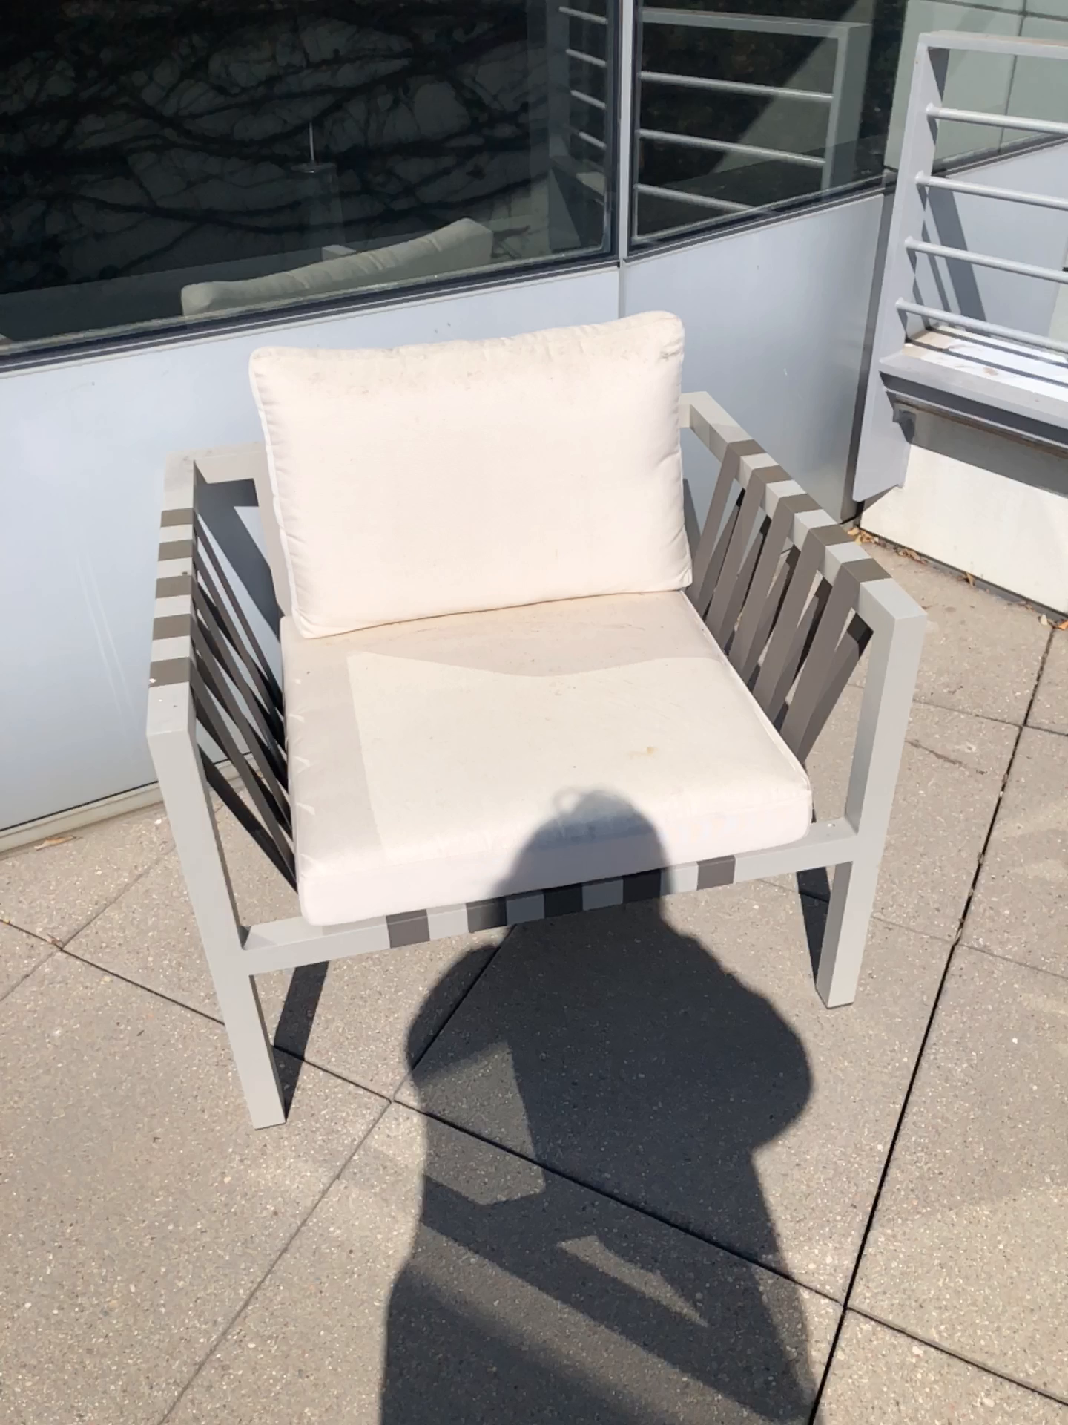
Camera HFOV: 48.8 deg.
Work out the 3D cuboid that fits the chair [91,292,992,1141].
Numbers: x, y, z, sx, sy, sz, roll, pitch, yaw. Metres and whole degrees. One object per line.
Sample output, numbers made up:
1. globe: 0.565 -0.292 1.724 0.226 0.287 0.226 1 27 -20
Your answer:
1. chair: -0.045 -0.060 1.628 0.870 0.736 0.784 -9 35 -10
